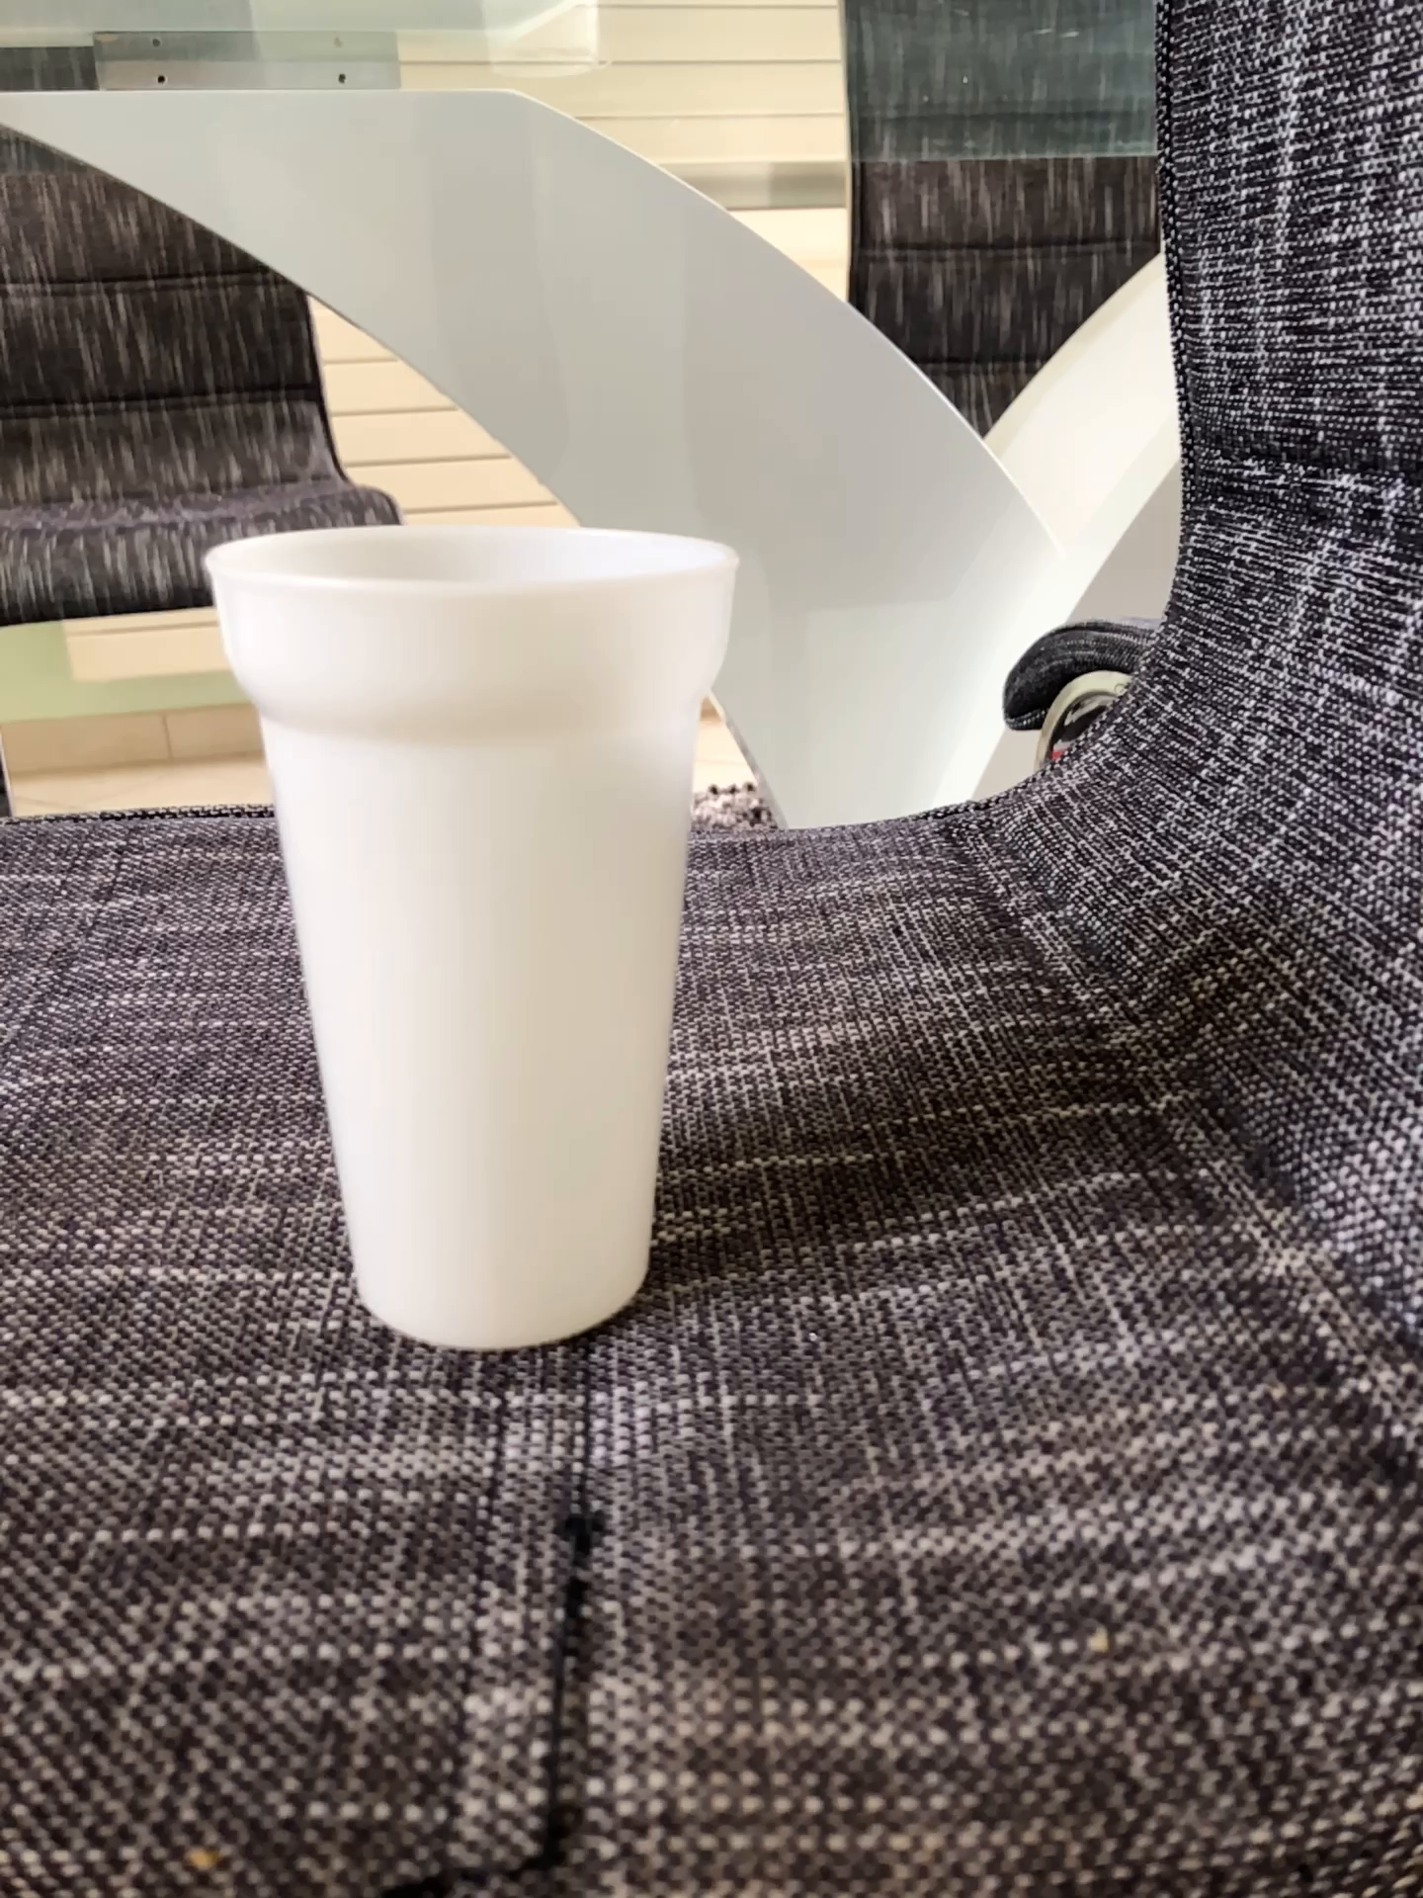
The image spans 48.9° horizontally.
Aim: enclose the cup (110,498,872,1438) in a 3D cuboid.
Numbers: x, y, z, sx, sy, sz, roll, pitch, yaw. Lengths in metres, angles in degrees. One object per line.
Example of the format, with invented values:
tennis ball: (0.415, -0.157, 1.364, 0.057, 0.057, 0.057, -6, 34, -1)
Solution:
cup: (-0.032, -0.007, 0.241, 0.080, 0.109, 0.080, -2, 21, 1)
